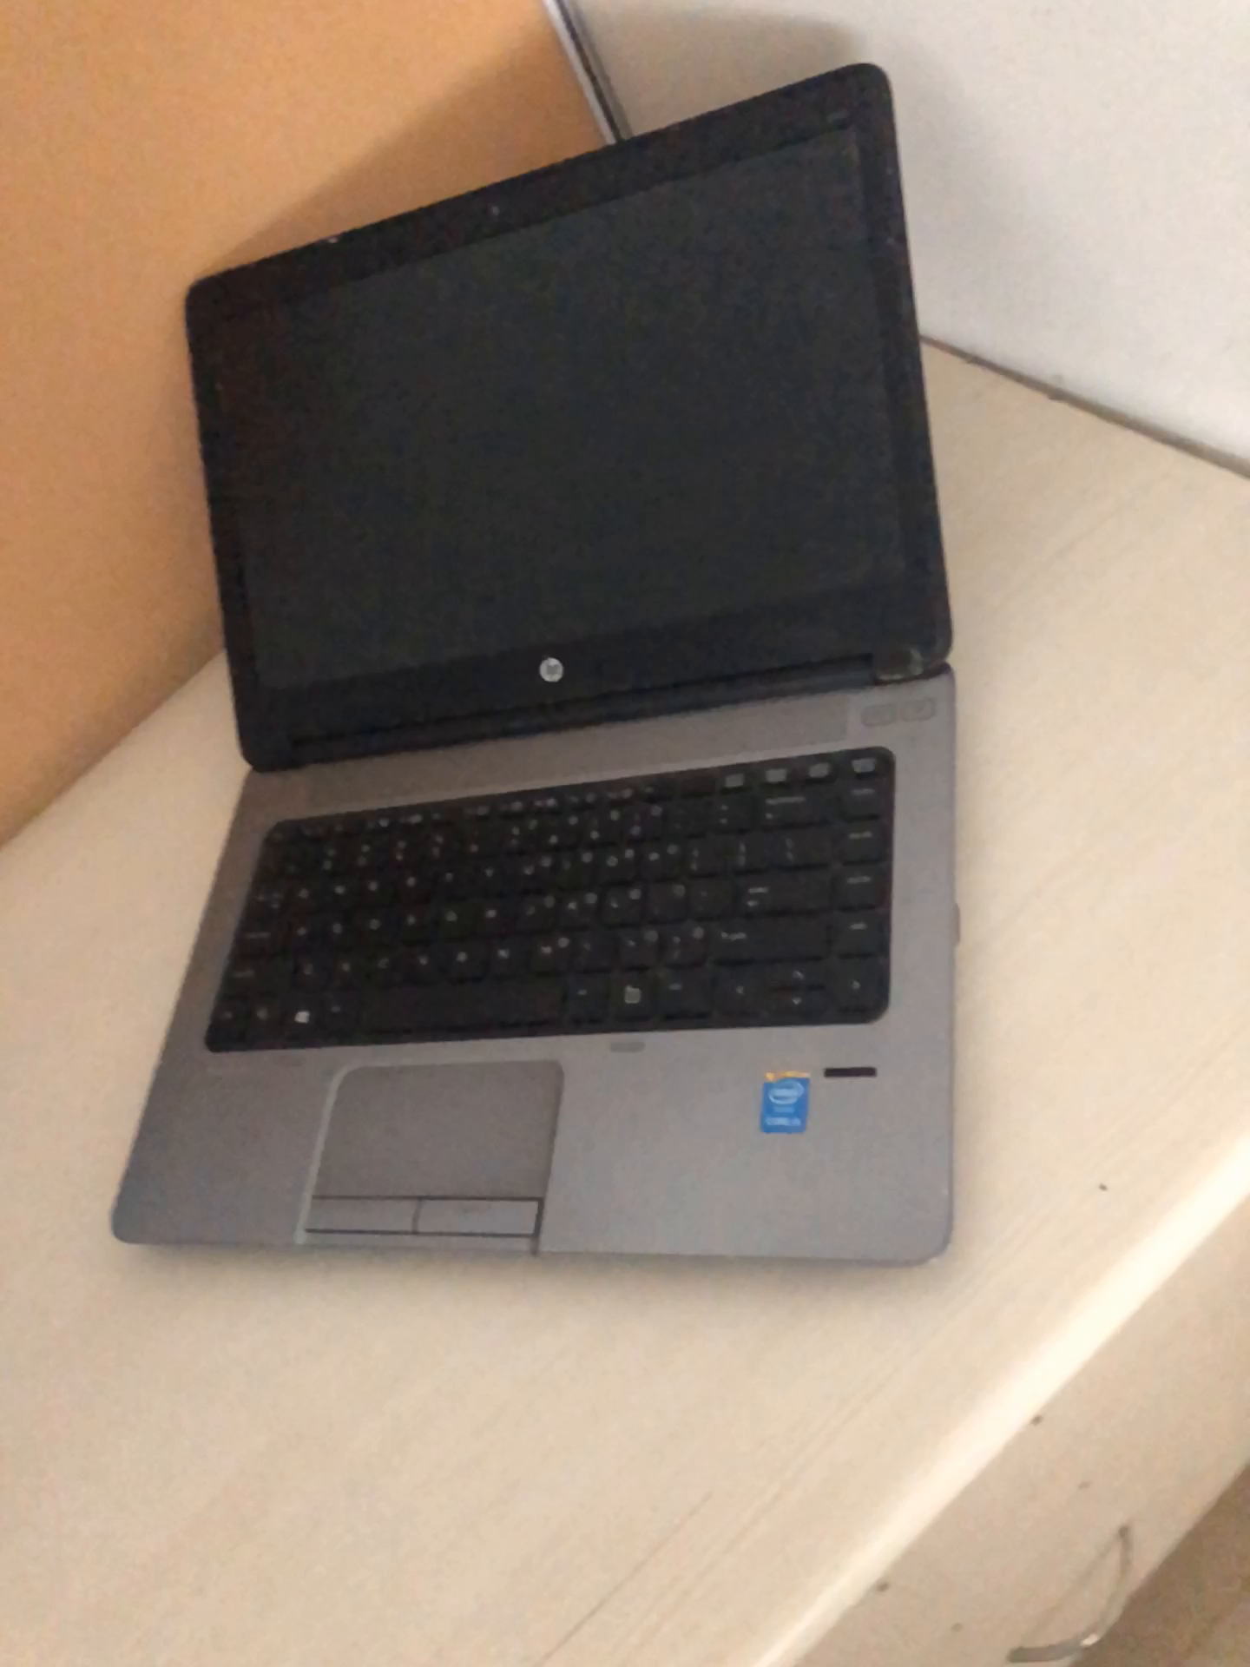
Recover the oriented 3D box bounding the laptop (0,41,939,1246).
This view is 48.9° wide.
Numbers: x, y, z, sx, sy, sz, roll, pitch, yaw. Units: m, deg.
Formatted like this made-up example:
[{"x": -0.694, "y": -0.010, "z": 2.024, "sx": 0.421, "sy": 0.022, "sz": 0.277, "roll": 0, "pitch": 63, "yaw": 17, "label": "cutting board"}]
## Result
[{"x": -0.059, "y": -0.067, "z": 0.511, "sx": 0.316, "sy": 0.125, "sz": 0.392, "roll": -6, "pitch": 57, "yaw": 24, "label": "laptop"}]
